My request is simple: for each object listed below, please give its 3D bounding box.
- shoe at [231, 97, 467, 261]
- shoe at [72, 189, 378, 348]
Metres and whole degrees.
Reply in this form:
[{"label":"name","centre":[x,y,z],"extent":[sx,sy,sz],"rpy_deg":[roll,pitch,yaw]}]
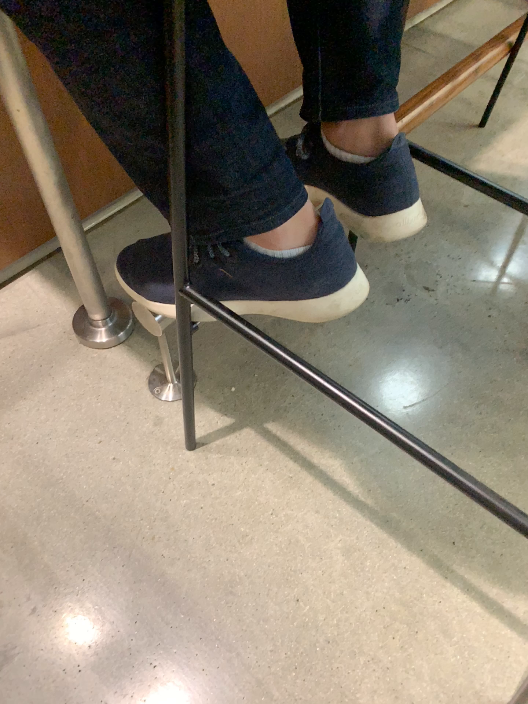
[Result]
[{"label":"shoe","centre":[0.093,-0.241,0.706],"extent":[0.129,0.093,0.301],"rpy_deg":[-25,45,-24]},{"label":"shoe","centre":[-0.038,-0.100,0.592],"extent":[0.299,0.093,0.124],"rpy_deg":[8,48,21]}]
